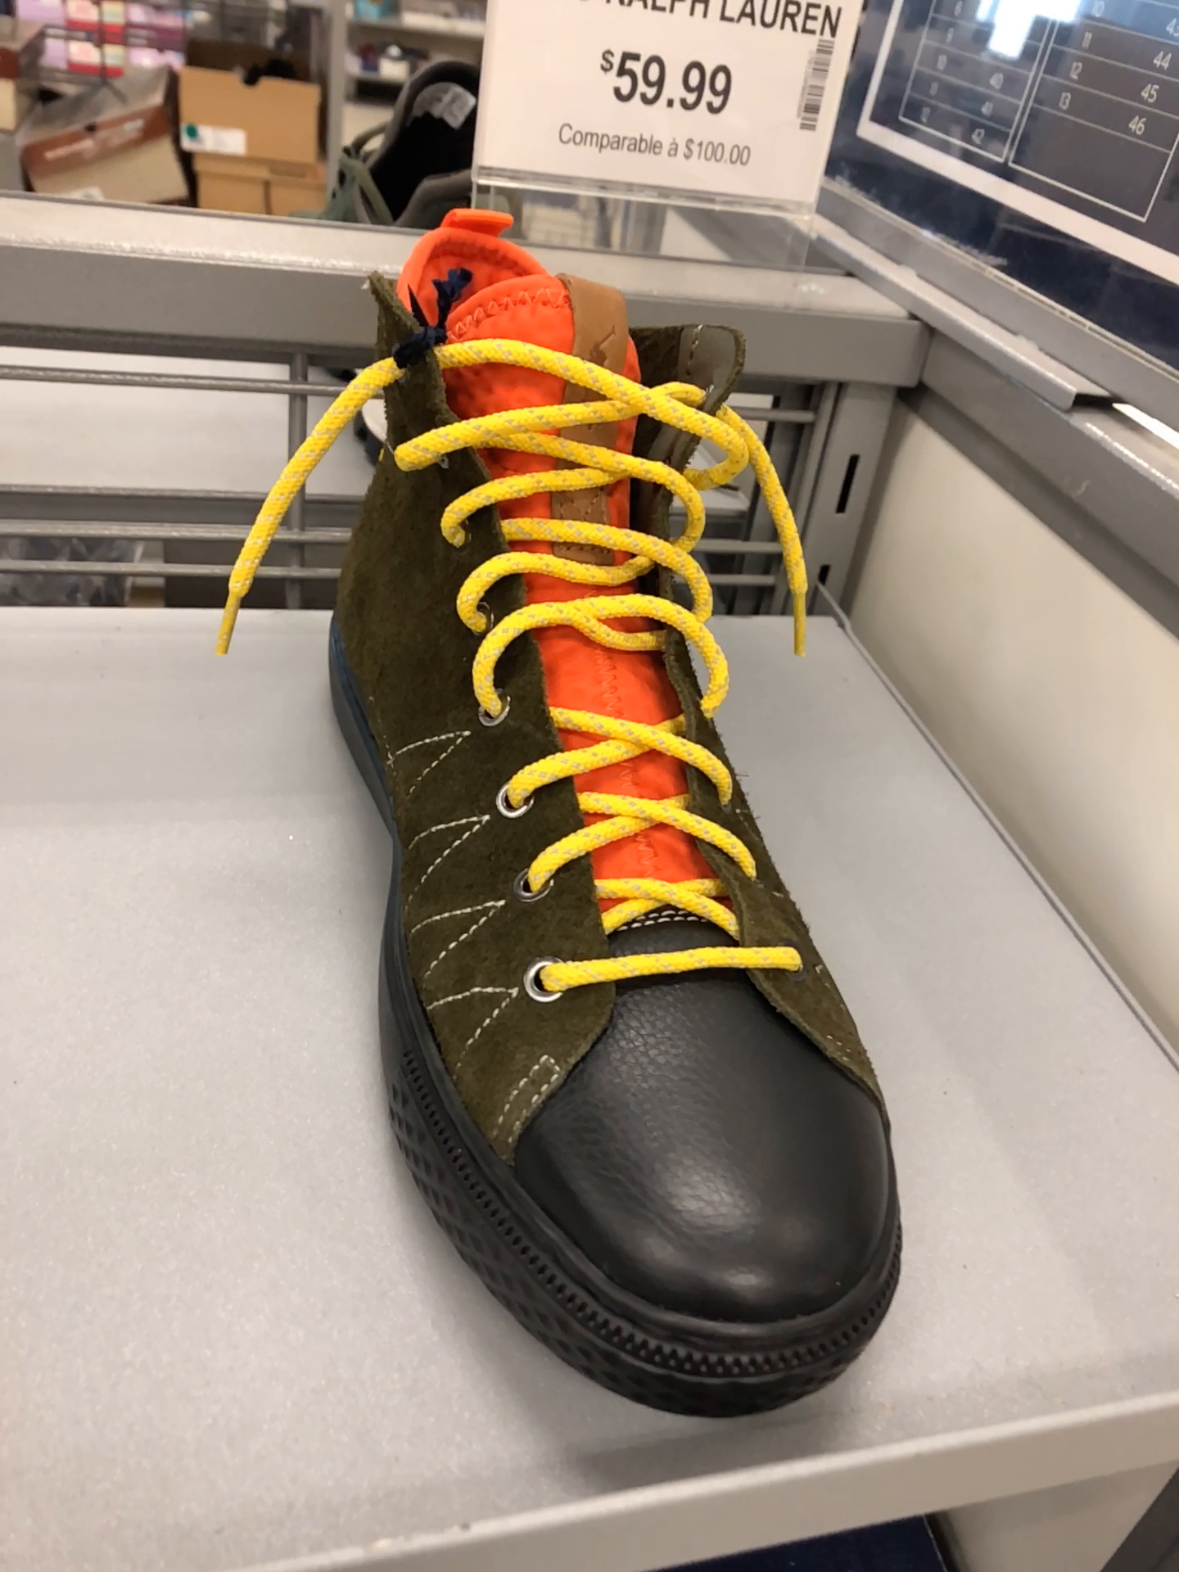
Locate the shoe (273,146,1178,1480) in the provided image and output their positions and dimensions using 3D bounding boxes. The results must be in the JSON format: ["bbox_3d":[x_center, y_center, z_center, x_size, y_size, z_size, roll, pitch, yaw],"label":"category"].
[{"bbox_3d":[0.002,-0.032,0.329,0.125,0.171,0.300,-4,36,-19],"label":"shoe"}]
